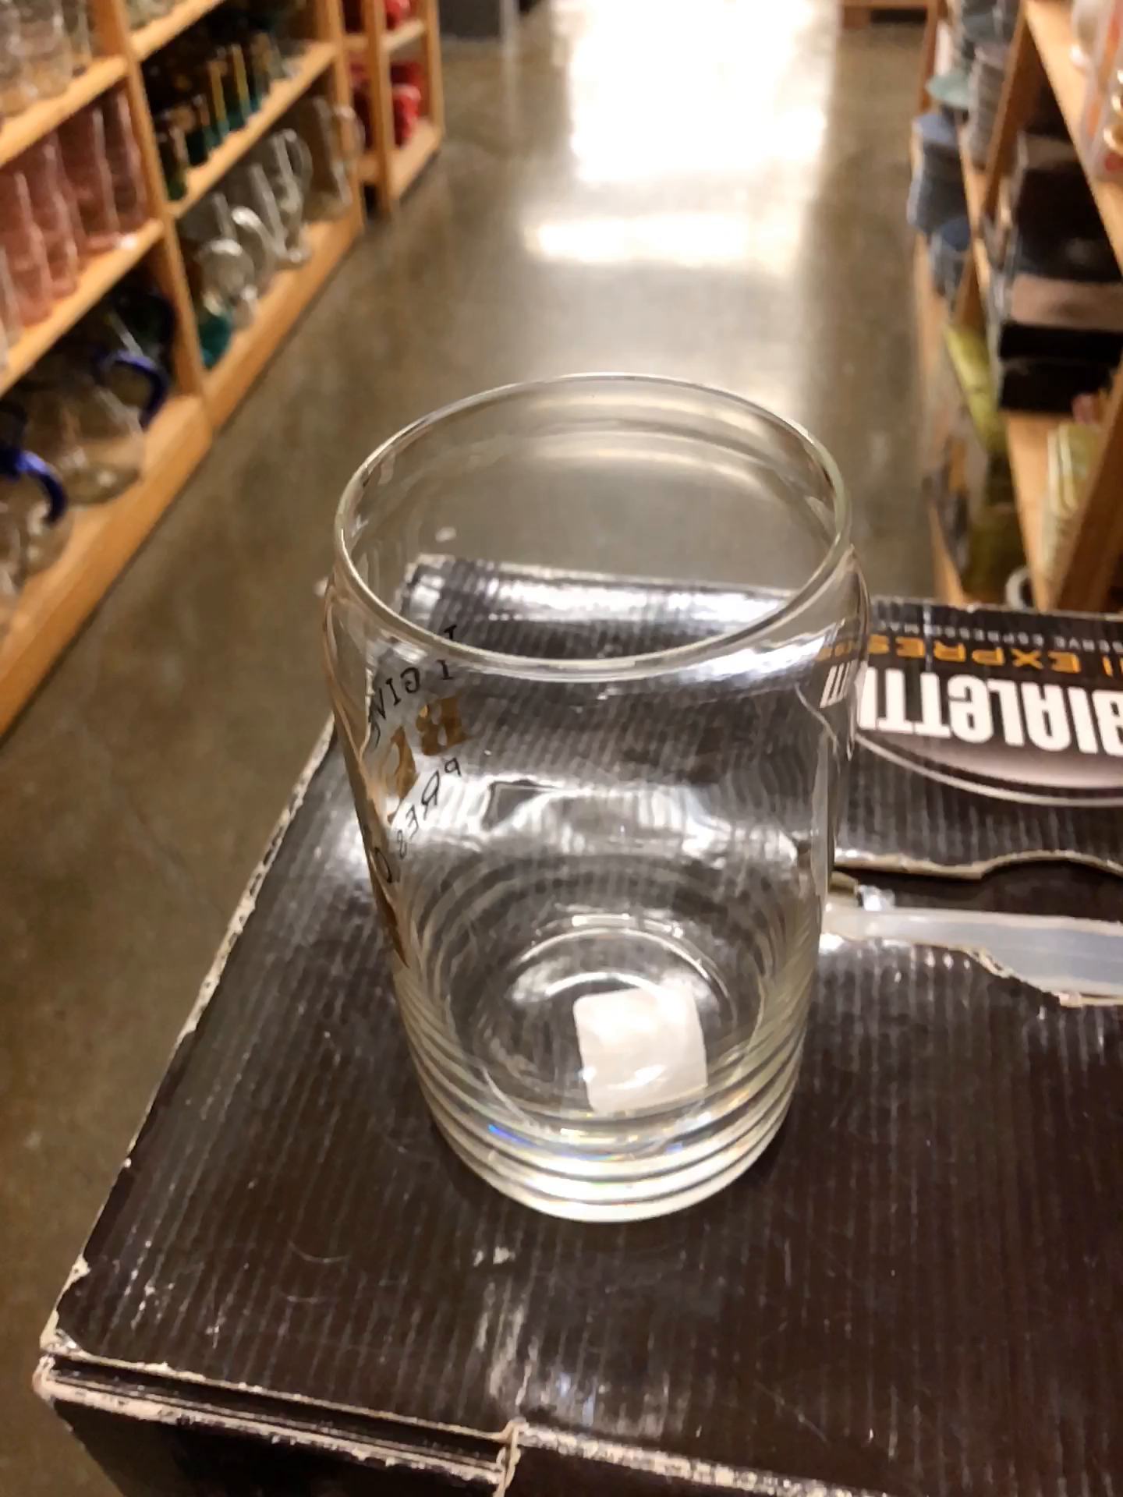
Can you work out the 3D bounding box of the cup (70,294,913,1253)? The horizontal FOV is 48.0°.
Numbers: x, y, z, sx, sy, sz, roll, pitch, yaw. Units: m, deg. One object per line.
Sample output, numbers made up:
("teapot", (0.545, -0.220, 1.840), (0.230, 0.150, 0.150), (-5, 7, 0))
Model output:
("cup", (-0.001, 0.006, 0.196), (0.087, 0.116, 0.081), (-1, 44, 1))
